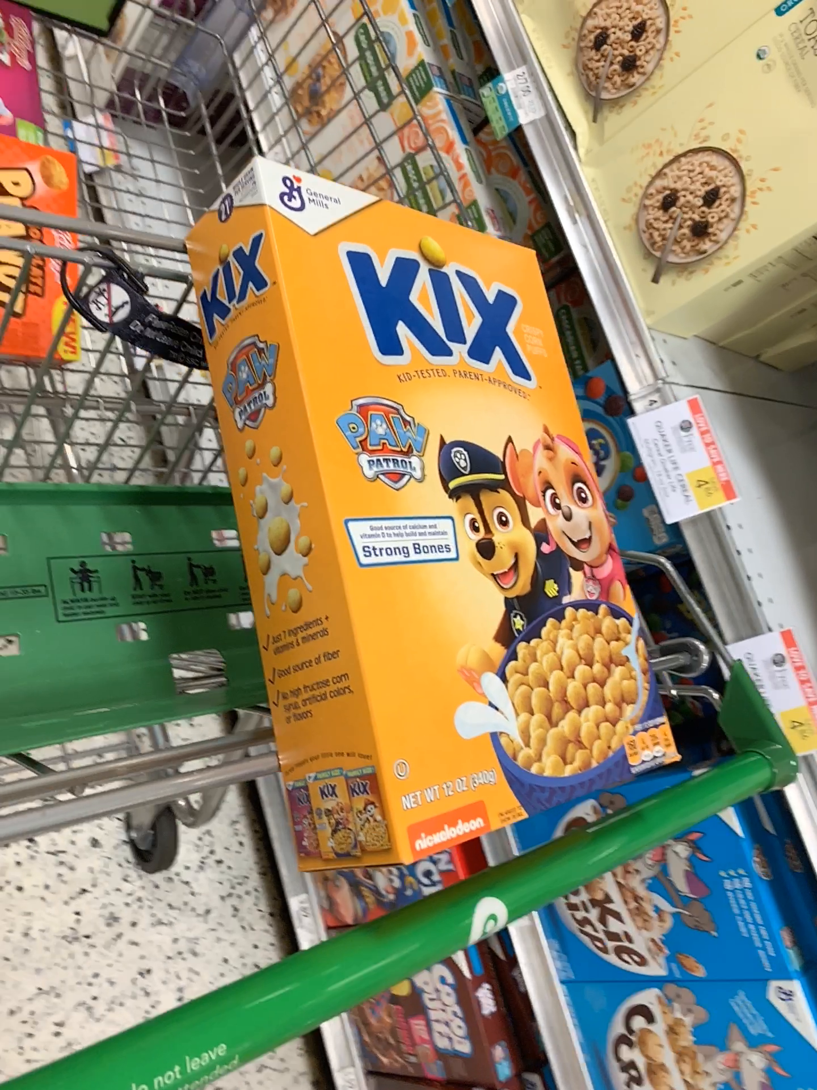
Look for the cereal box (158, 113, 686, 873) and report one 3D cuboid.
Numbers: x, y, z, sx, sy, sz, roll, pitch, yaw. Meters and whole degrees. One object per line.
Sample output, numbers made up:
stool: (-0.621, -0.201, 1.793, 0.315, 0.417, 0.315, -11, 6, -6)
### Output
cereal box: (0.011, -0.028, 0.437, 0.212, 0.079, 0.321, -2, 74, -44)
